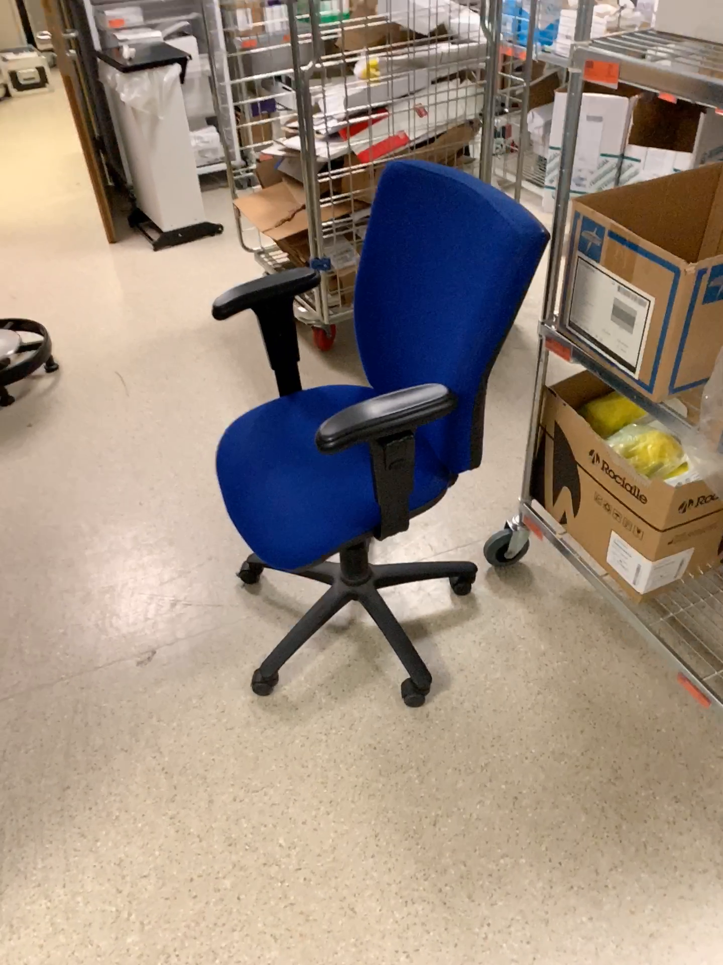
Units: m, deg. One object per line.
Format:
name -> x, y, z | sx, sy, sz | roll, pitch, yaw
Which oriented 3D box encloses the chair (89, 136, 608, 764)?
chair -> -0.057, -0.079, 1.520 | 0.667, 0.949, 0.684 | -16, 42, -15
